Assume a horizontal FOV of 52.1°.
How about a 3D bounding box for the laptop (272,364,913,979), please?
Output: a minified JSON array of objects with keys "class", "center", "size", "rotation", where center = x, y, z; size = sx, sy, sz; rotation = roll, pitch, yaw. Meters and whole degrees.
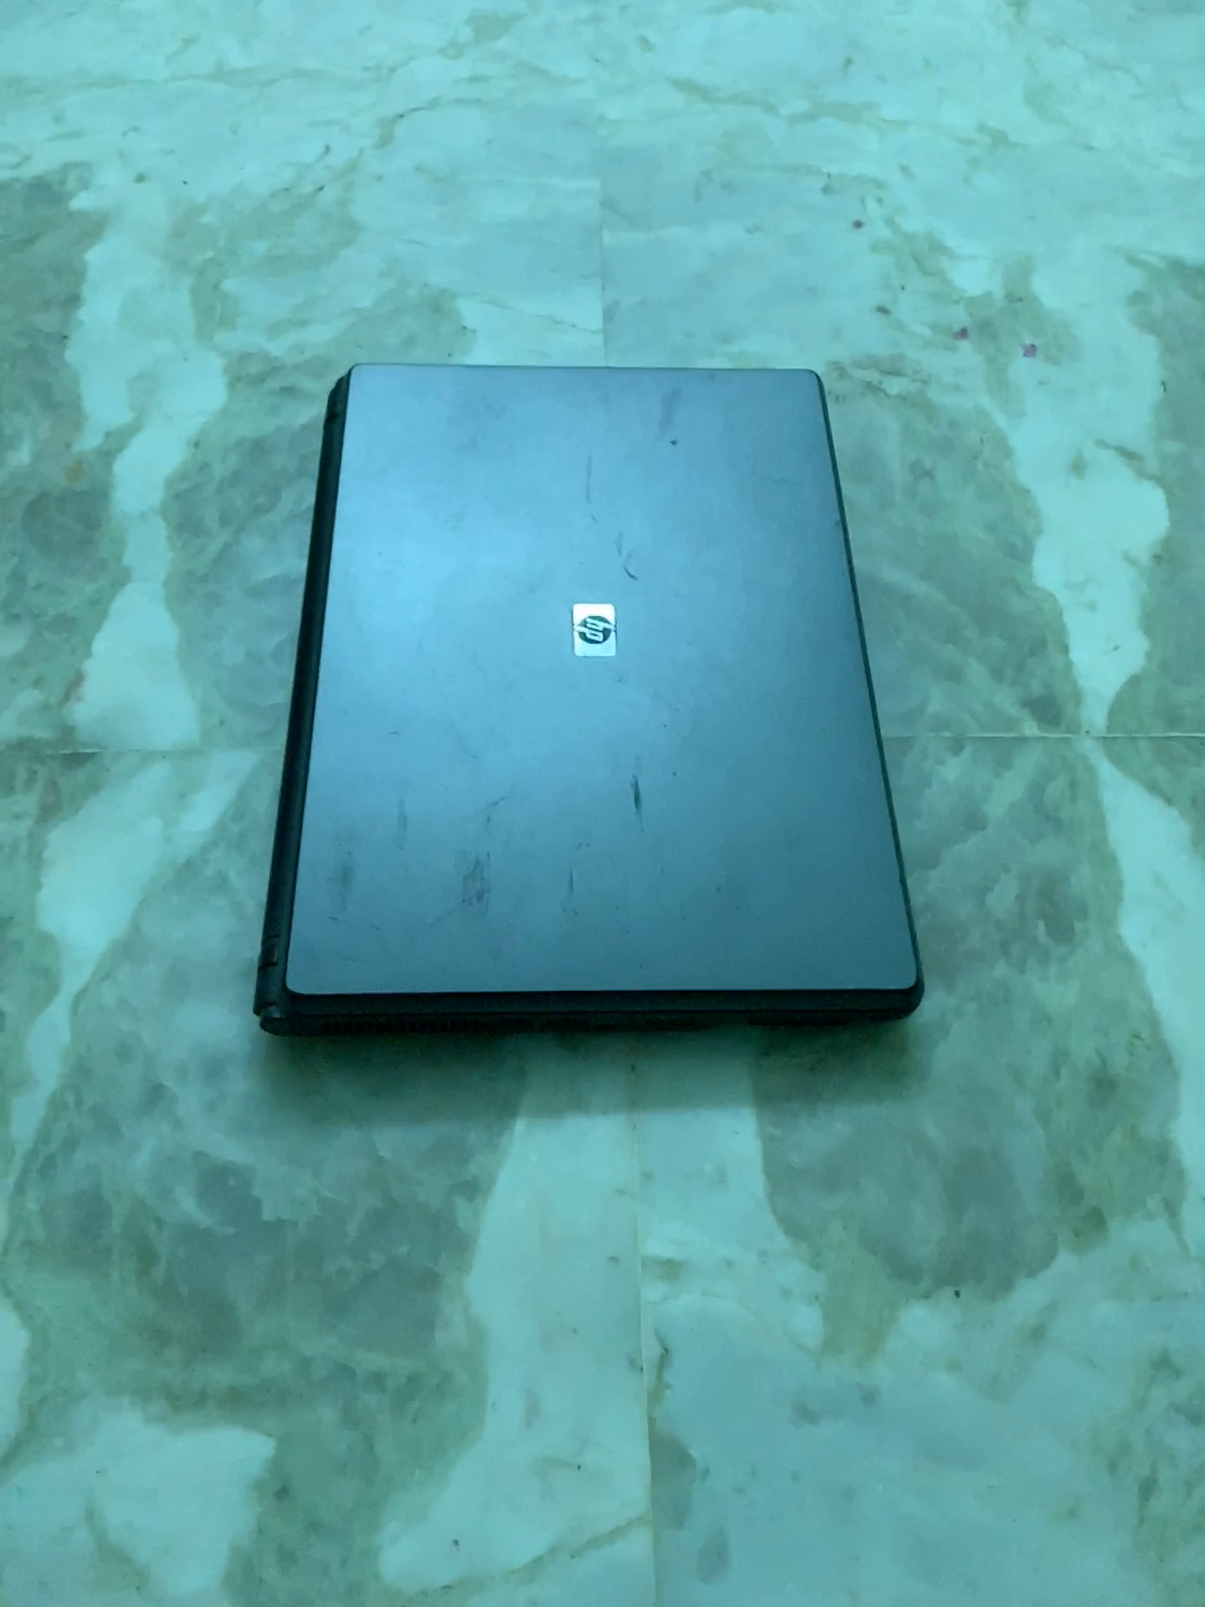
[{"class":"laptop","center":[-0.009,-0.075,0.513],"size":[0.226,0.001,0.311],"rotation":[-1,60,-1]}]
